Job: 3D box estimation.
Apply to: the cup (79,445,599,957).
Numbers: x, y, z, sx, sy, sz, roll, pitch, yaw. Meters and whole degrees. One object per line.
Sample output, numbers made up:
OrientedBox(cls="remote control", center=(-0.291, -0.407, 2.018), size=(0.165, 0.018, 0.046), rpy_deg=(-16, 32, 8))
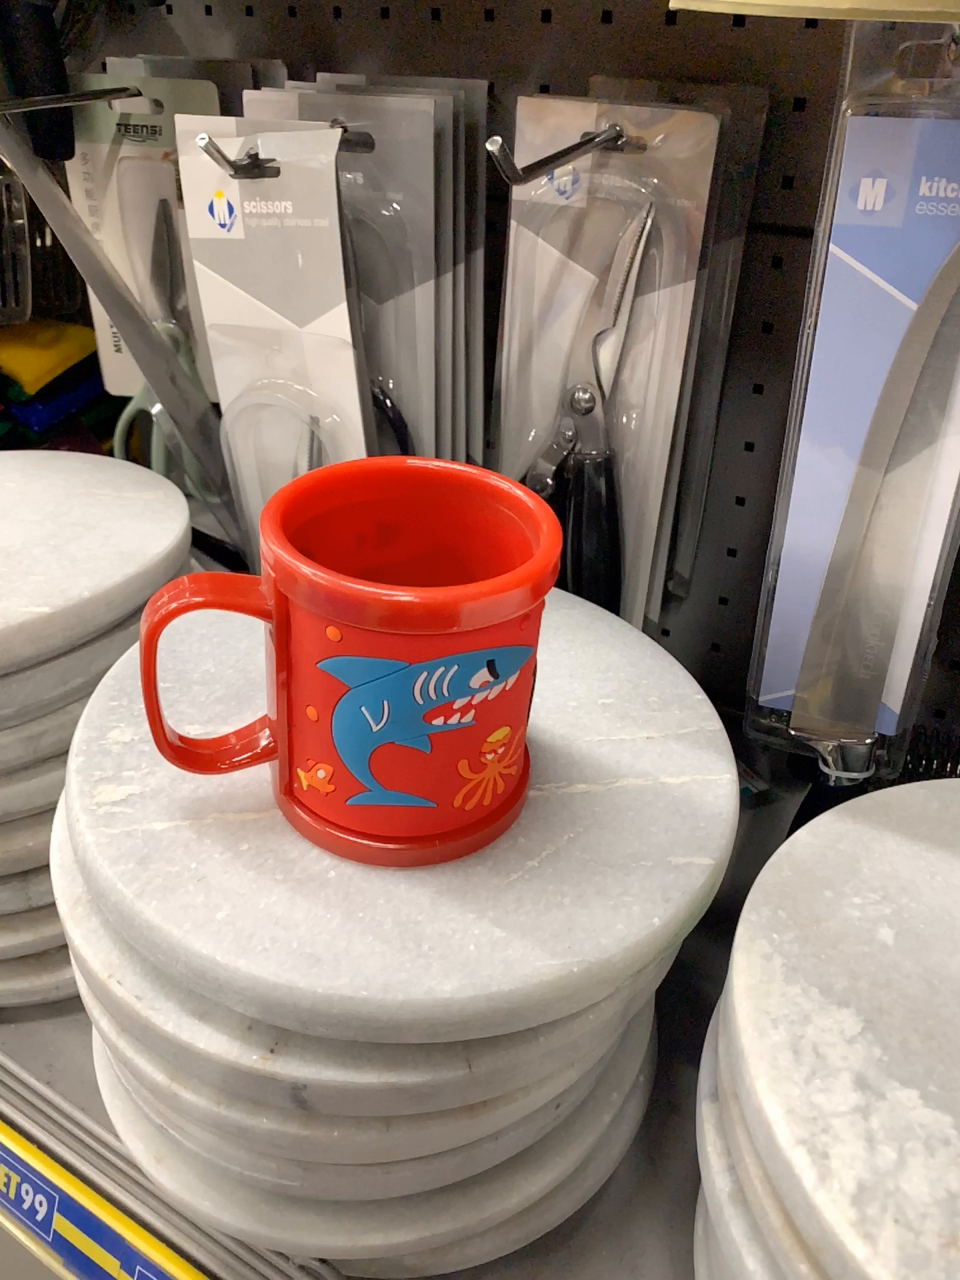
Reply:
OrientedBox(cls="cup", center=(-0.041, 0.012, 0.284), size=(0.120, 0.100, 0.080), rpy_deg=(-9, 33, -15))
